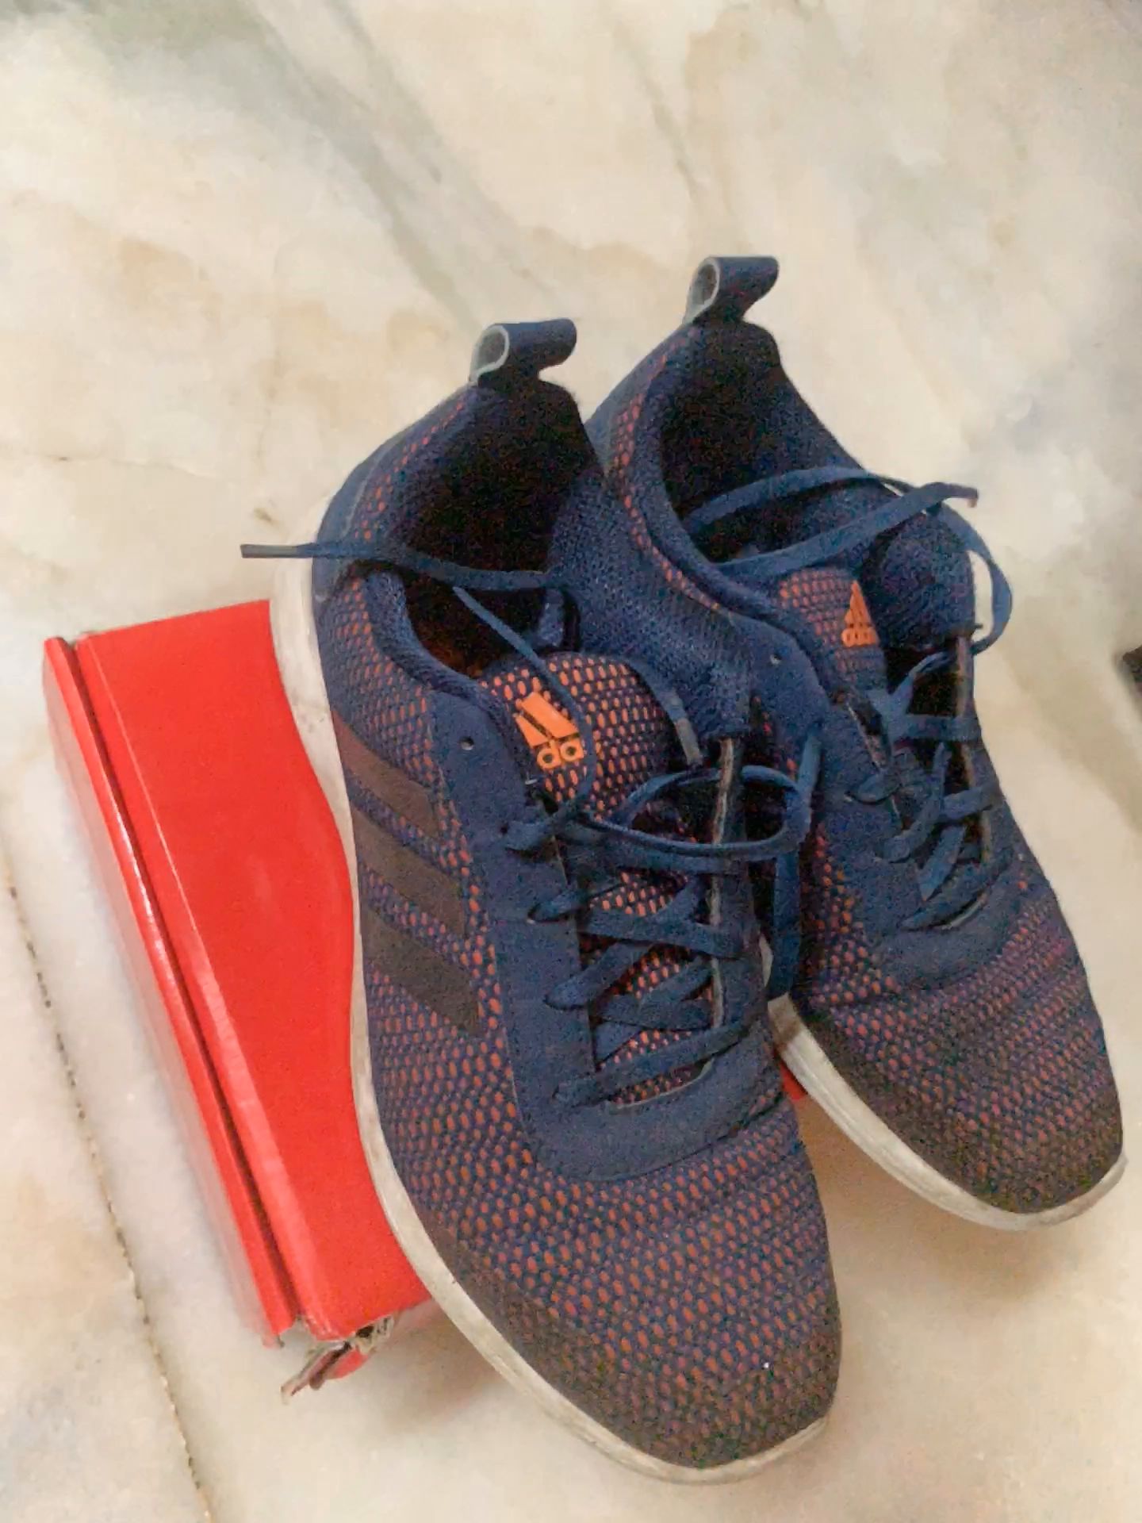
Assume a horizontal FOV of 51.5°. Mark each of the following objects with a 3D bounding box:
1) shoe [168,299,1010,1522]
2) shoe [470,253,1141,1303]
[{"bbox_3d":[-0.016,0.030,0.320,0.100,0.100,0.301,-12,72,-28],"label":"shoe"},{"bbox_3d":[0.086,-0.004,0.344,0.100,0.080,0.280,-21,76,-30],"label":"shoe"}]
